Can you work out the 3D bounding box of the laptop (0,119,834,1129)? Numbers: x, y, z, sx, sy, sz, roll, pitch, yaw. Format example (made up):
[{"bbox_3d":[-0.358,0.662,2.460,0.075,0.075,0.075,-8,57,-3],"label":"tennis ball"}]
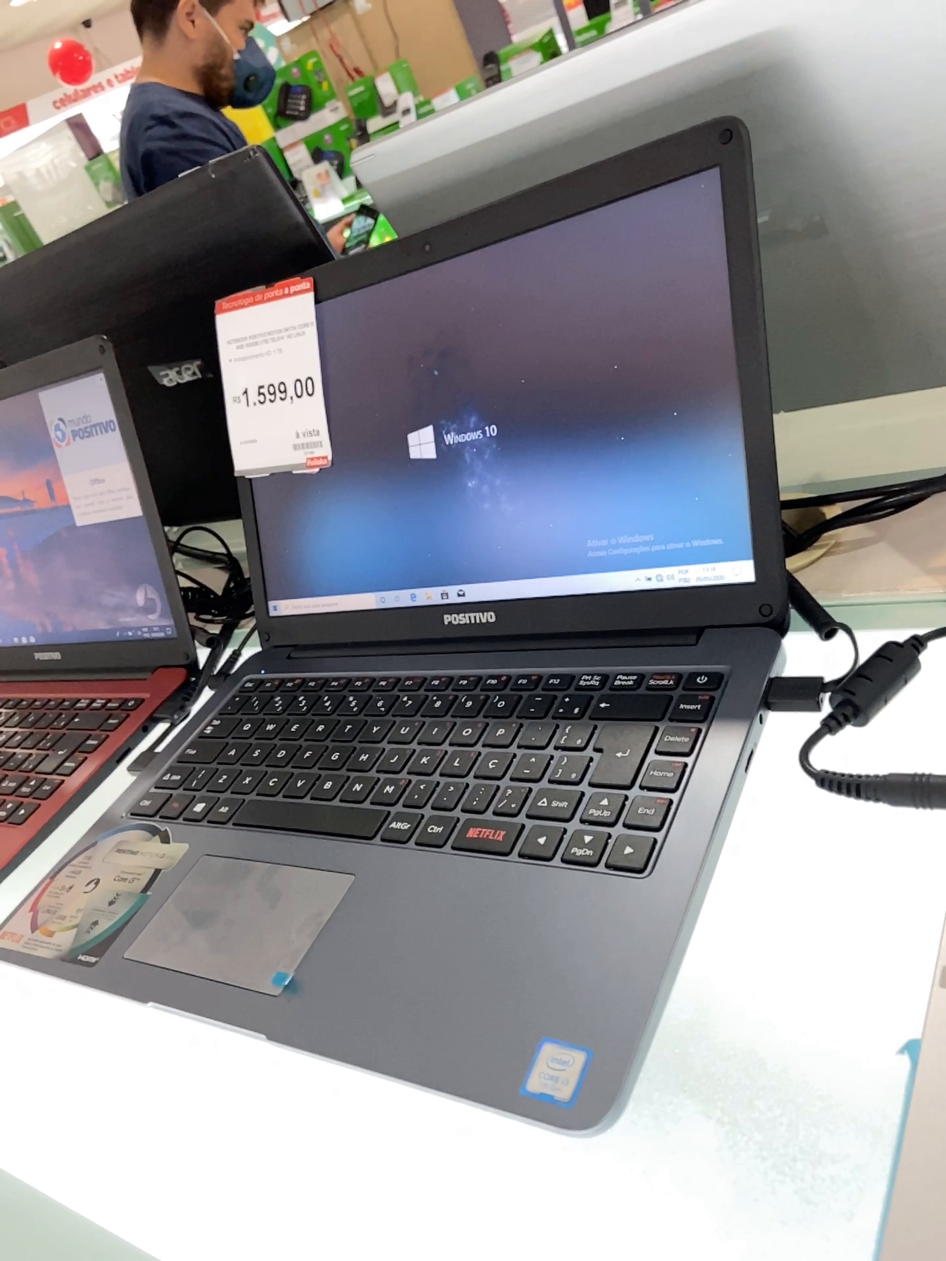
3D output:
[{"bbox_3d":[-0.060,-0.028,0.417,0.319,0.171,0.325,-4,36,36],"label":"laptop"}]
